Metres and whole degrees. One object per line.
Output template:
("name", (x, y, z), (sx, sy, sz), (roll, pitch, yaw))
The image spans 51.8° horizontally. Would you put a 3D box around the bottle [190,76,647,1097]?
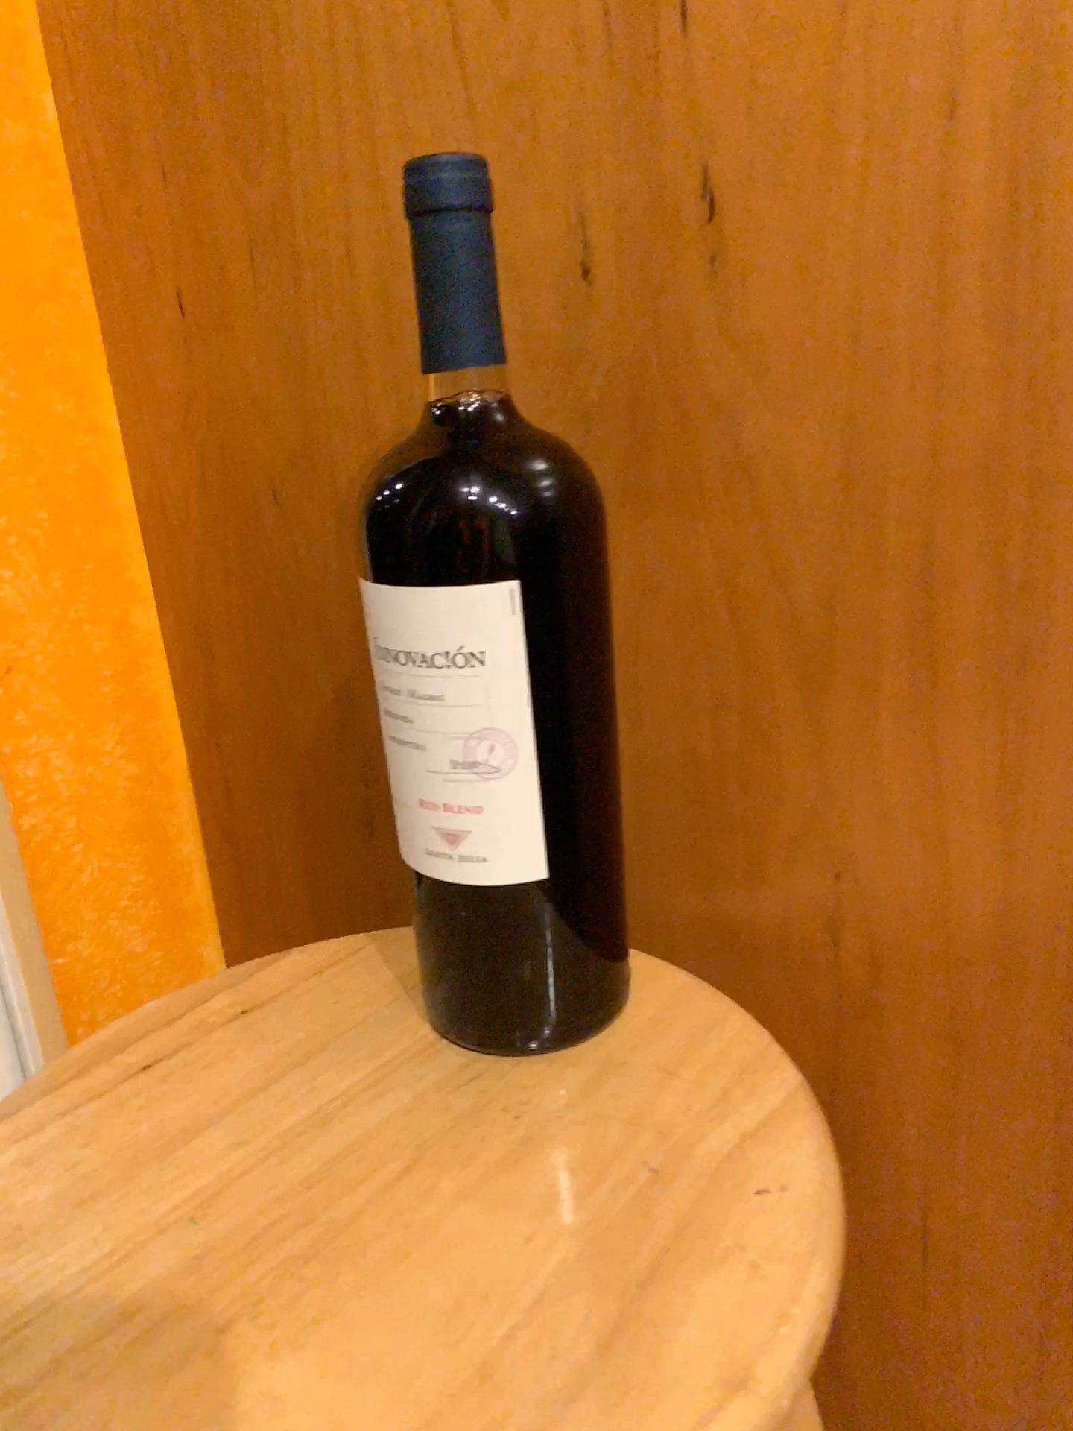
("bottle", (-0.031, -0.034, 0.376), (0.090, 0.299, 0.080), (7, 21, 36))
